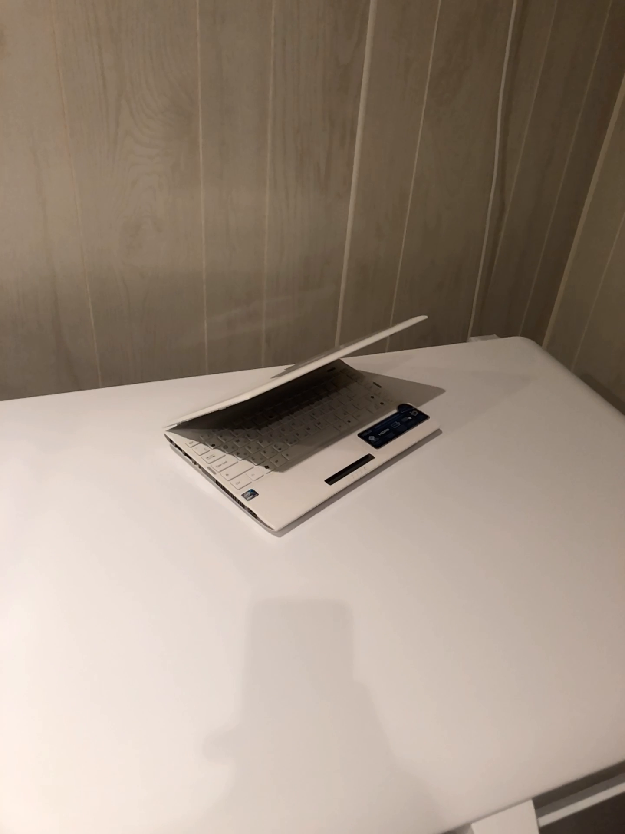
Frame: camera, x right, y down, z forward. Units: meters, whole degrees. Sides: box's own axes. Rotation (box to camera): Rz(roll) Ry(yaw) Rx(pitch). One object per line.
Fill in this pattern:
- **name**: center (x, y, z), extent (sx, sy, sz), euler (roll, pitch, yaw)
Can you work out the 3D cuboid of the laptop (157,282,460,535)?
- **laptop**: center (0.000, -0.030, 0.831), extent (0.198, 0.115, 0.300), euler (35, 45, 30)
